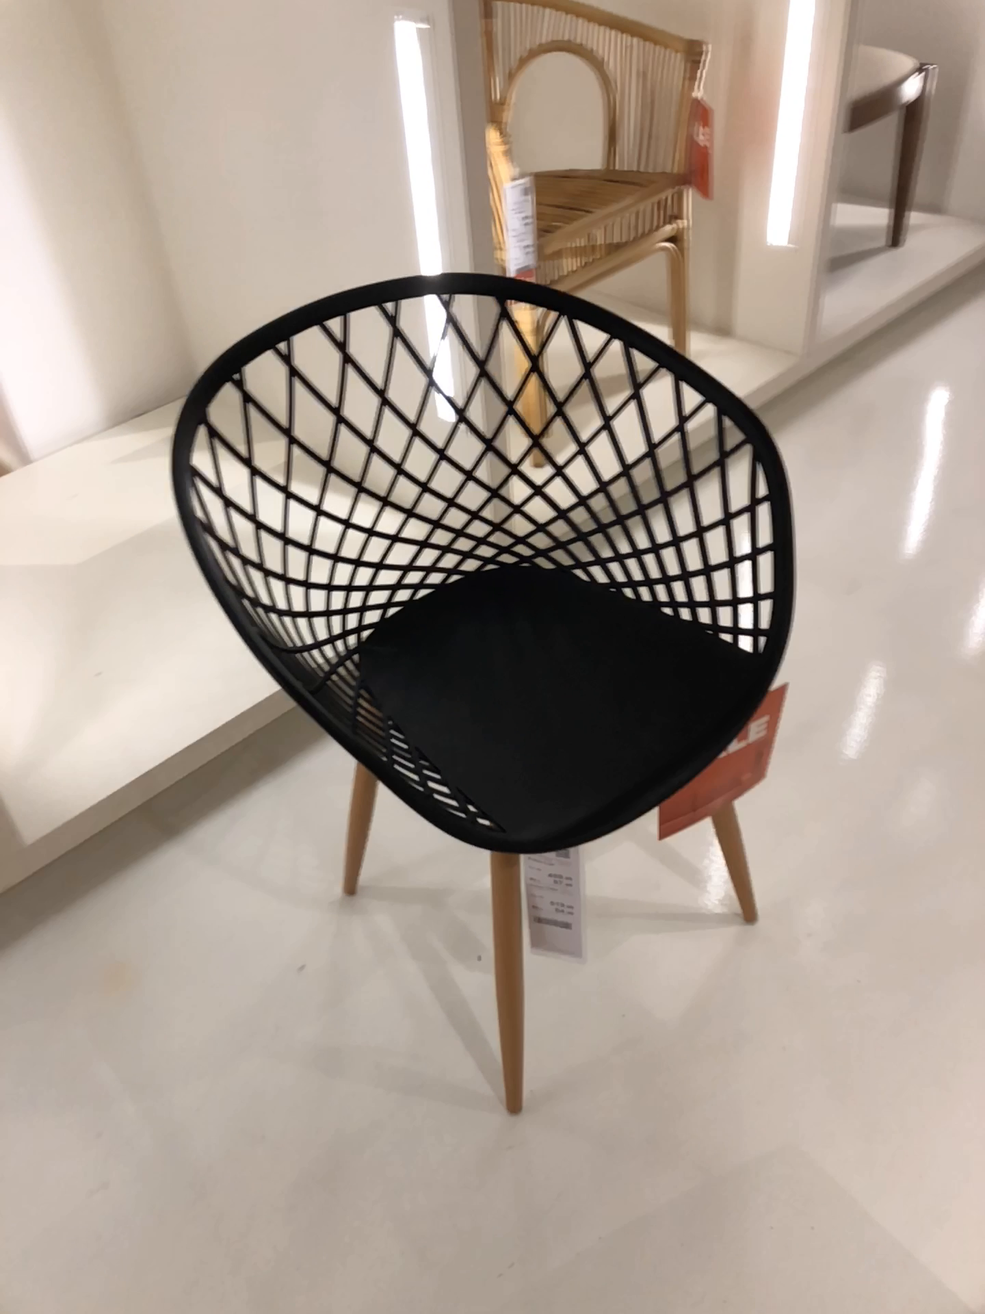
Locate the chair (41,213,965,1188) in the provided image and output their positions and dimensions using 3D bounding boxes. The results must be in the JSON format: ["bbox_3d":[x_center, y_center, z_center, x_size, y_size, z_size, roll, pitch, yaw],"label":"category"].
[{"bbox_3d":[0.014,0.007,1.230,0.622,0.705,0.603,-30,46,-26],"label":"chair"}]
